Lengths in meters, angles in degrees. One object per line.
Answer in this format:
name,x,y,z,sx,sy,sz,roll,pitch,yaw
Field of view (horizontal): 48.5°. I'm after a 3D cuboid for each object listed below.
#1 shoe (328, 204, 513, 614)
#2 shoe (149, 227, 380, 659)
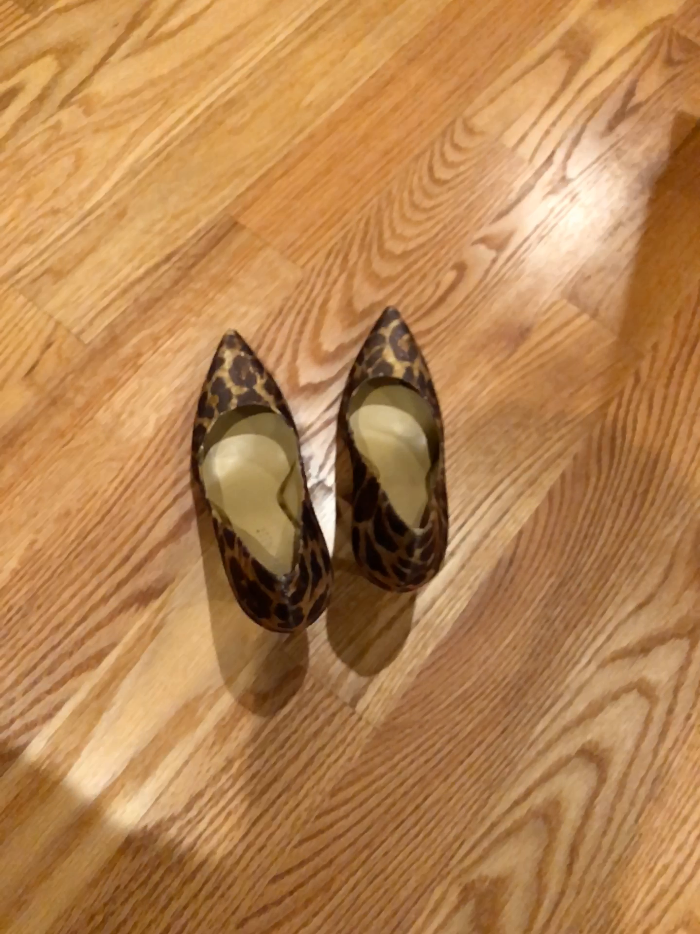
shoe,0.036,-0.028,0.499,0.083,0.144,0.219,3,70,-5
shoe,-0.057,-0.008,0.481,0.083,0.144,0.219,-10,72,-10
